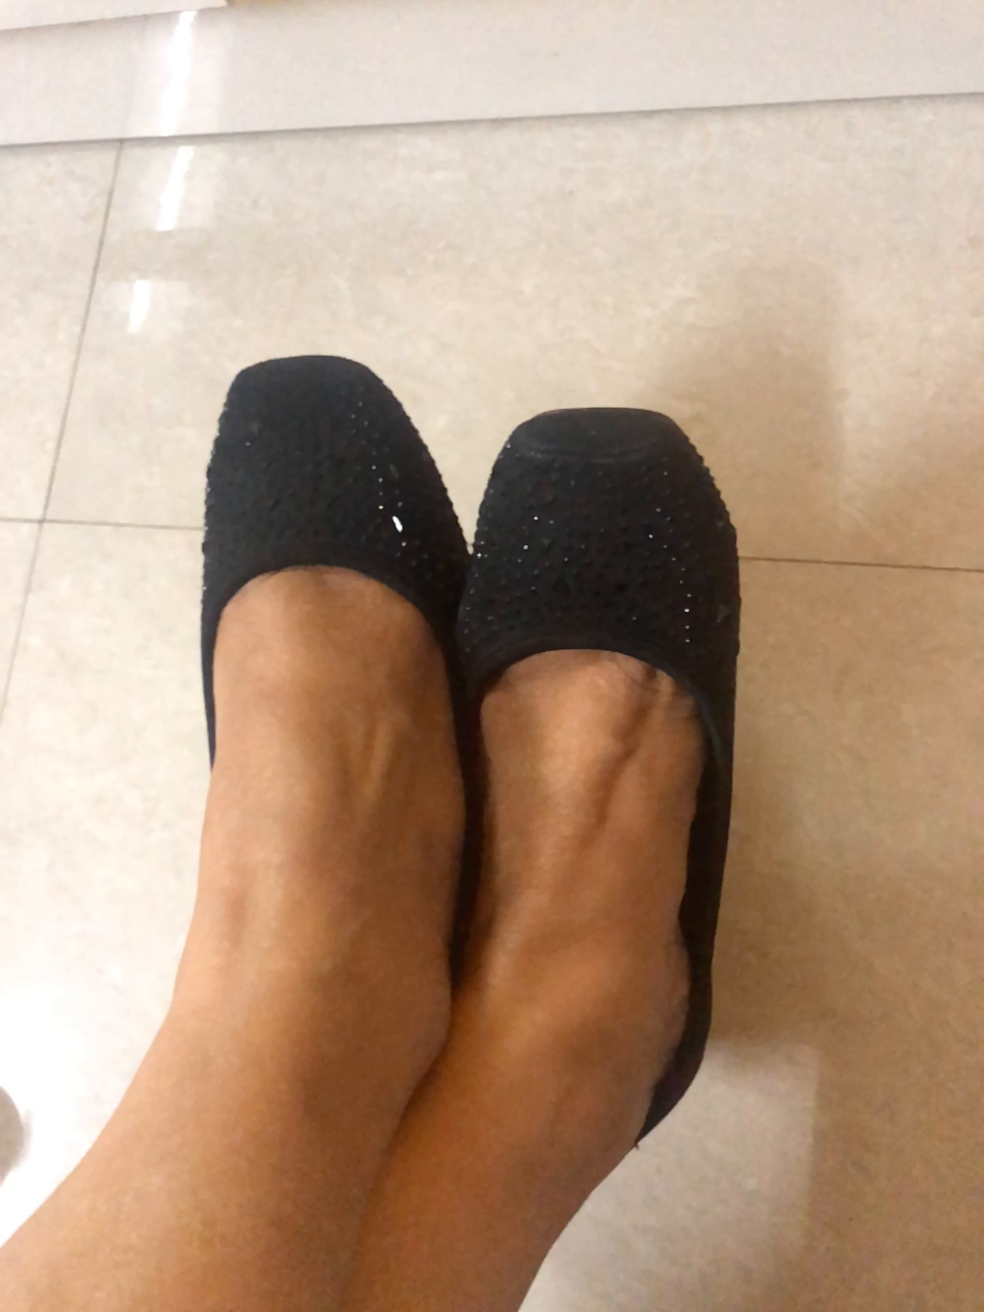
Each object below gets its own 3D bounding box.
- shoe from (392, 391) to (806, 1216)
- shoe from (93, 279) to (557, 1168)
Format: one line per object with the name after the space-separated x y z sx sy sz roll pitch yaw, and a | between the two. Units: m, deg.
0.036 0.045 0.339 0.100 0.070 0.240 4 112 16 | shoe
-0.044 0.026 0.364 0.100 0.070 0.270 -6 101 7 | shoe
